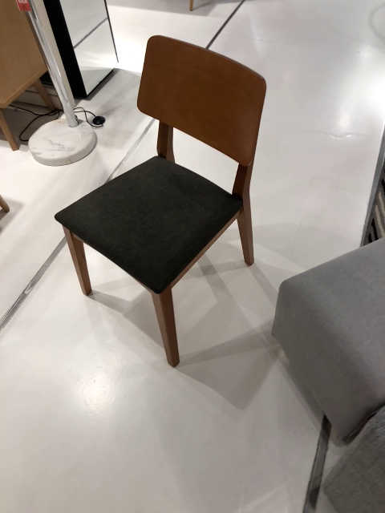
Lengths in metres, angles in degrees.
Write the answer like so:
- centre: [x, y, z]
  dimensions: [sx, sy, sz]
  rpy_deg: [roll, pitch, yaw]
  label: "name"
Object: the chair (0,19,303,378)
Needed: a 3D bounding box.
- centre: [-0.094, -0.157, 1.339]
  dimensions: [0.532, 0.805, 0.582]
  rpy_deg: [34, 61, 28]
  label: "chair"
